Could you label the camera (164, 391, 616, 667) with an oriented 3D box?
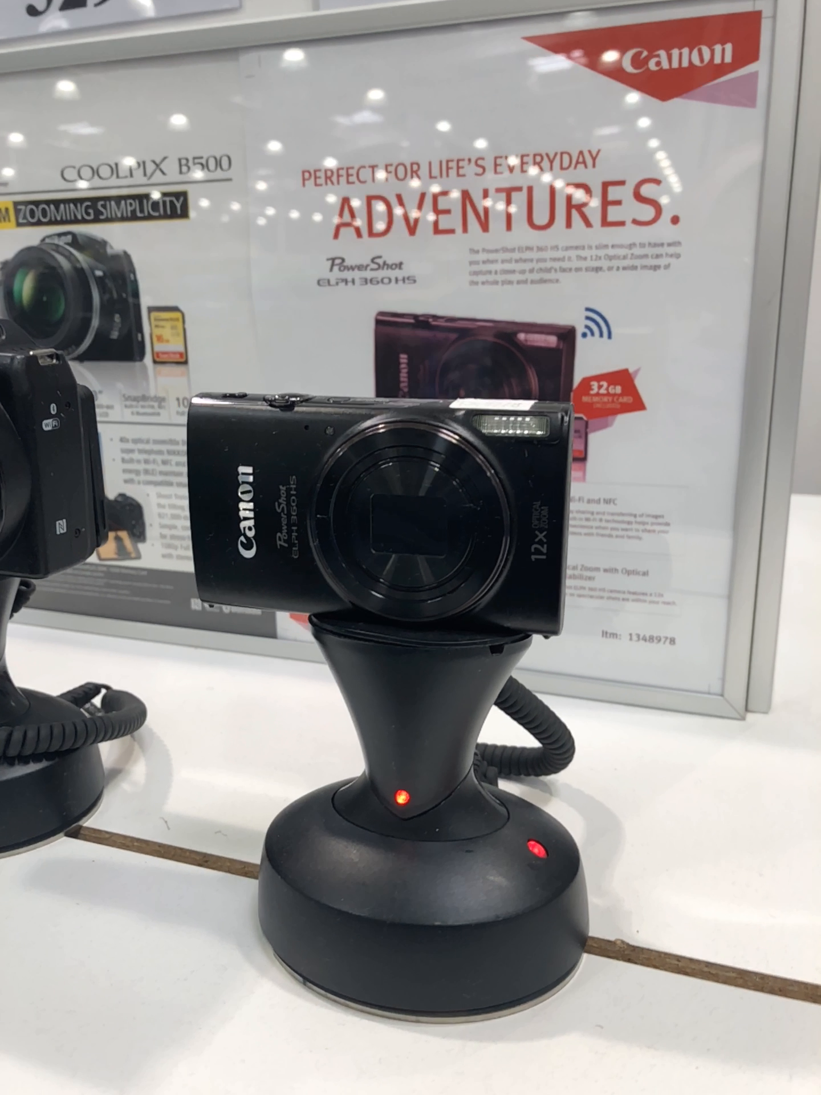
[{"bbox_3d":[-0.004,-0.009,0.245,0.110,0.060,0.040,4,16,17],"label":"camera"}]
